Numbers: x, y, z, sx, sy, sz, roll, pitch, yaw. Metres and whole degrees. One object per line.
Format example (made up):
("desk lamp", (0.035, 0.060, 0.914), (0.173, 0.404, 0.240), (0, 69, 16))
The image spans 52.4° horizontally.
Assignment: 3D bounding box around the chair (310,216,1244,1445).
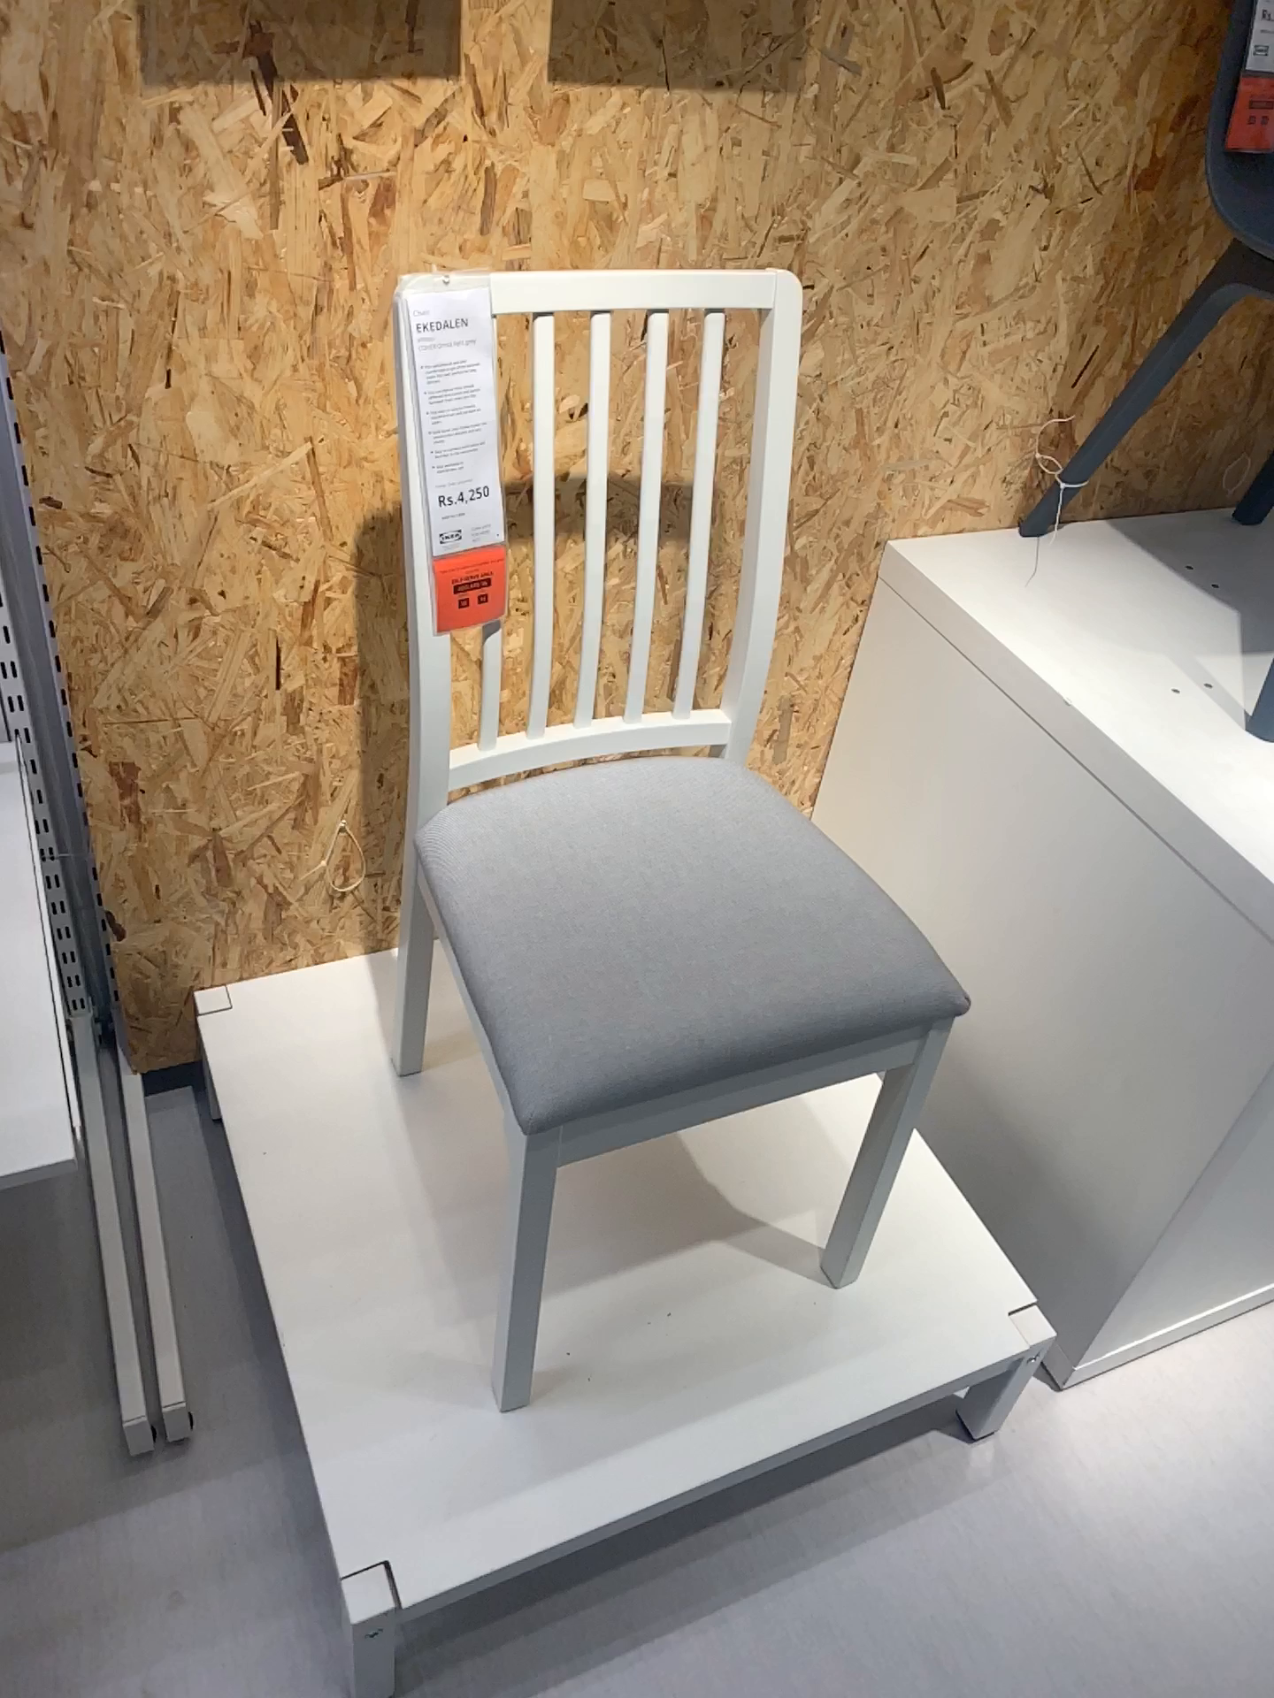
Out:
("chair", (0.006, -0.002, 1.137), (0.431, 0.886, 0.511), (-11, 44, -23))
